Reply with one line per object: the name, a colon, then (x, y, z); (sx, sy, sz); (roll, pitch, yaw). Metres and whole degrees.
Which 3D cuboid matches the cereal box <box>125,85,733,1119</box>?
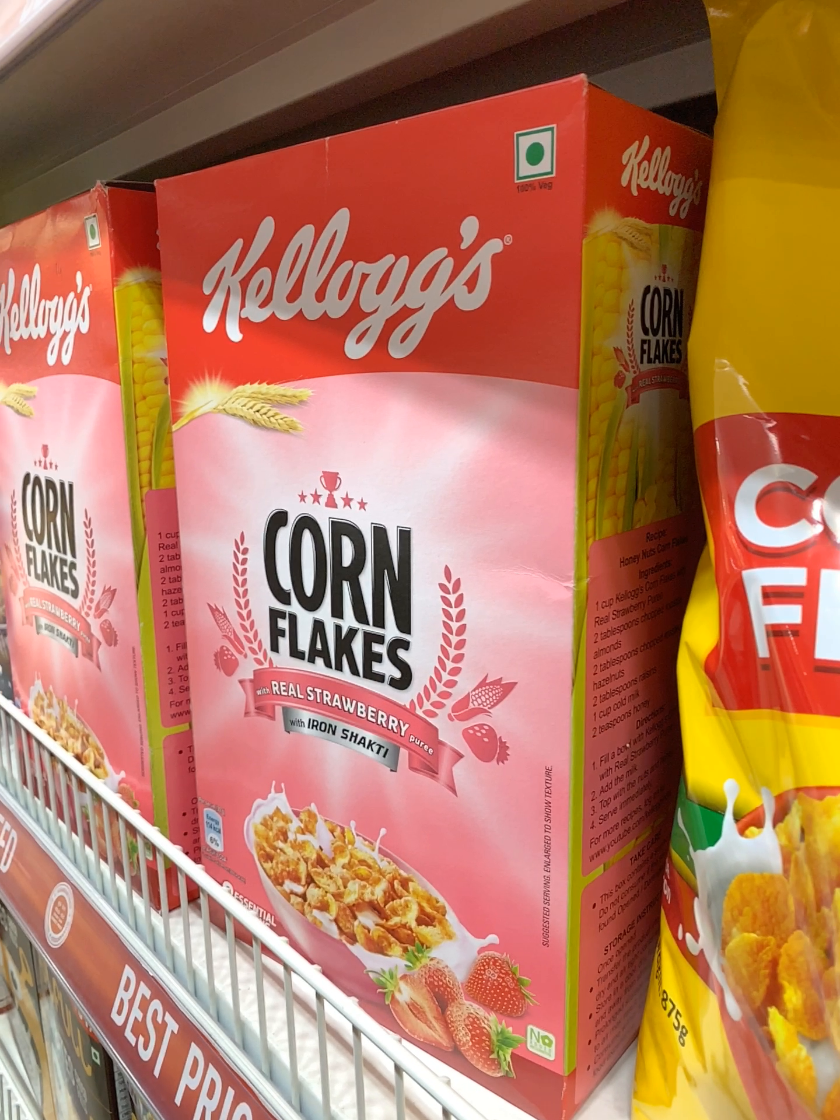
cereal box: (-0.002, 0.014, 0.296); (0.170, 0.269, 0.090); (8, 14, 38)
